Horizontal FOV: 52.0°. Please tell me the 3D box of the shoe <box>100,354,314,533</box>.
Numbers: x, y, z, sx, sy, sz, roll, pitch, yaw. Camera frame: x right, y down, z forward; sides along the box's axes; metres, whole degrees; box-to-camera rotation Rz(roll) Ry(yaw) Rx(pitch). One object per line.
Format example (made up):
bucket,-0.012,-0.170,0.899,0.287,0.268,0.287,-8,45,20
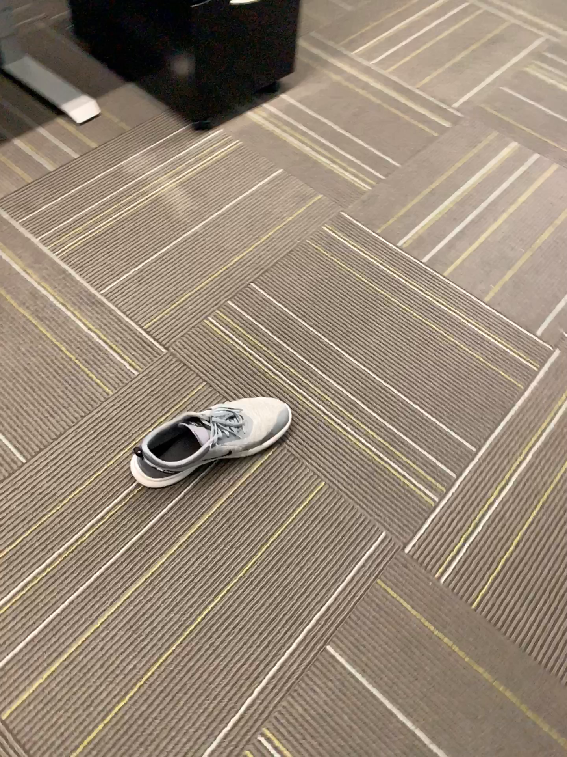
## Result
shoe,-0.132,0.111,1.052,0.330,0.110,0.161,-26,64,-20
